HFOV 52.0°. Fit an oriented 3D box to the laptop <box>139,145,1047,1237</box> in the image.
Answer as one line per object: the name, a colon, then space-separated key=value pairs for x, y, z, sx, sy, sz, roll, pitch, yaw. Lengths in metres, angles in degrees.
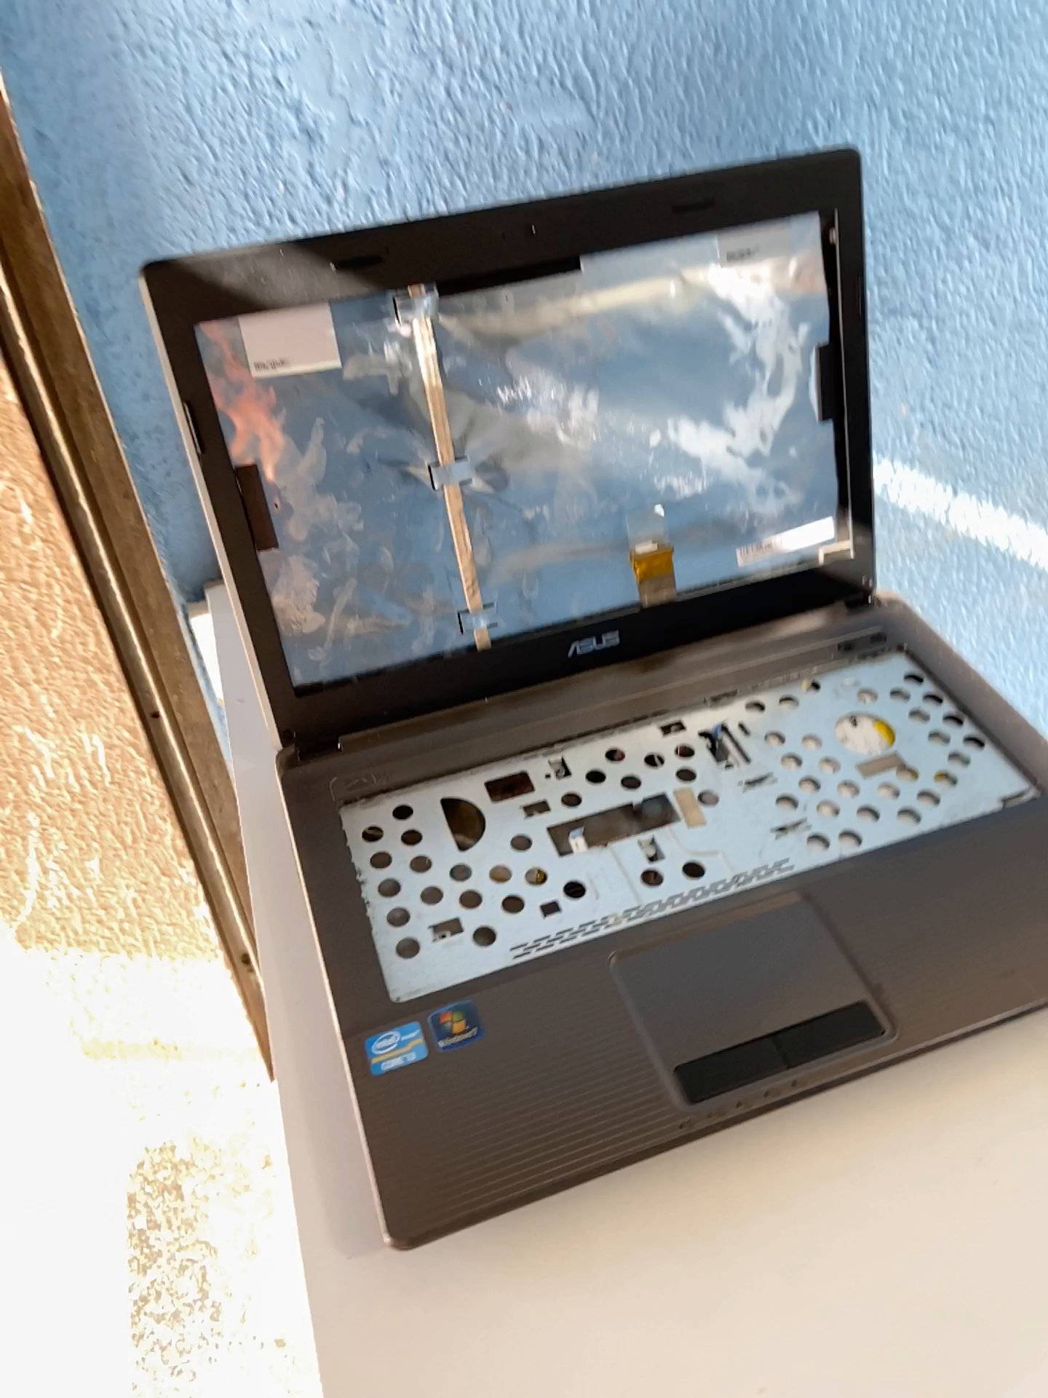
laptop: x=0.058 y=-0.046 z=0.433 sx=0.336 sy=0.202 sz=0.328 roll=-15 pitch=43 yaw=-12
